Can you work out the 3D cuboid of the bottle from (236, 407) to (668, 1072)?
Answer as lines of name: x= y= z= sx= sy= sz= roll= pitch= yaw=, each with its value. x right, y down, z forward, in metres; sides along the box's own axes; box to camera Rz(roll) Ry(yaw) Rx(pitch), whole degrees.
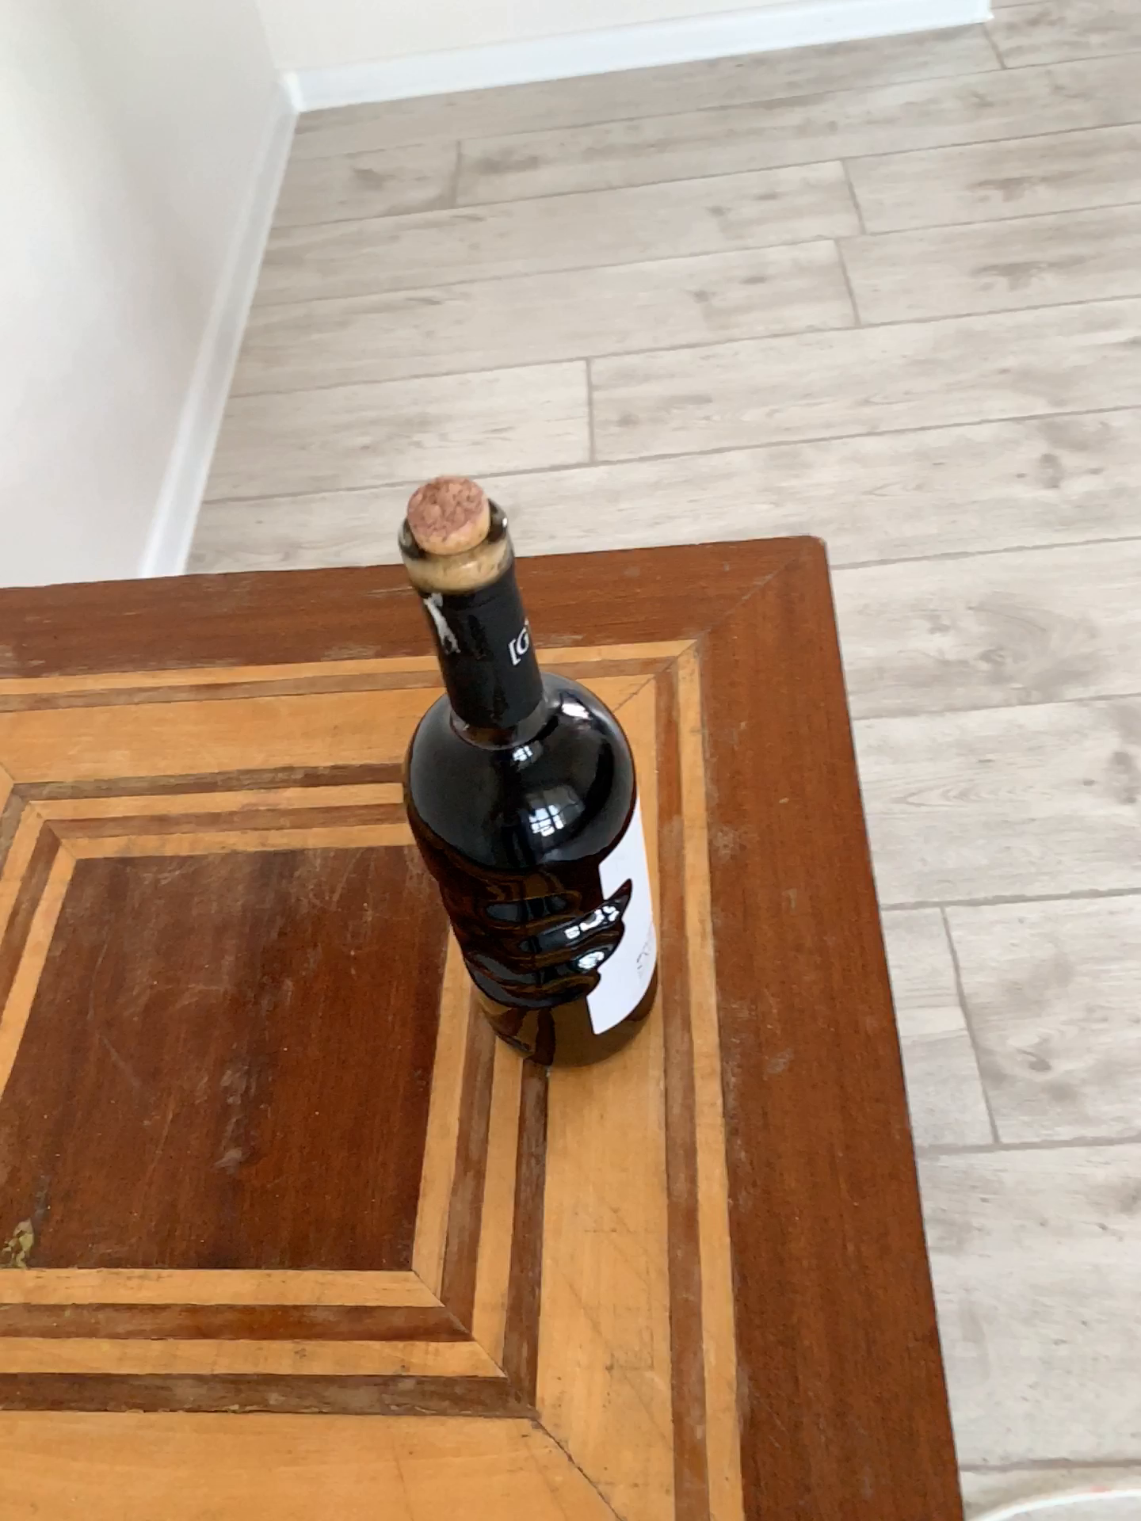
bottle: x=-0.019 y=0.017 z=0.416 sx=0.090 sy=0.269 sz=0.090 roll=-4 pitch=54 yaw=6
